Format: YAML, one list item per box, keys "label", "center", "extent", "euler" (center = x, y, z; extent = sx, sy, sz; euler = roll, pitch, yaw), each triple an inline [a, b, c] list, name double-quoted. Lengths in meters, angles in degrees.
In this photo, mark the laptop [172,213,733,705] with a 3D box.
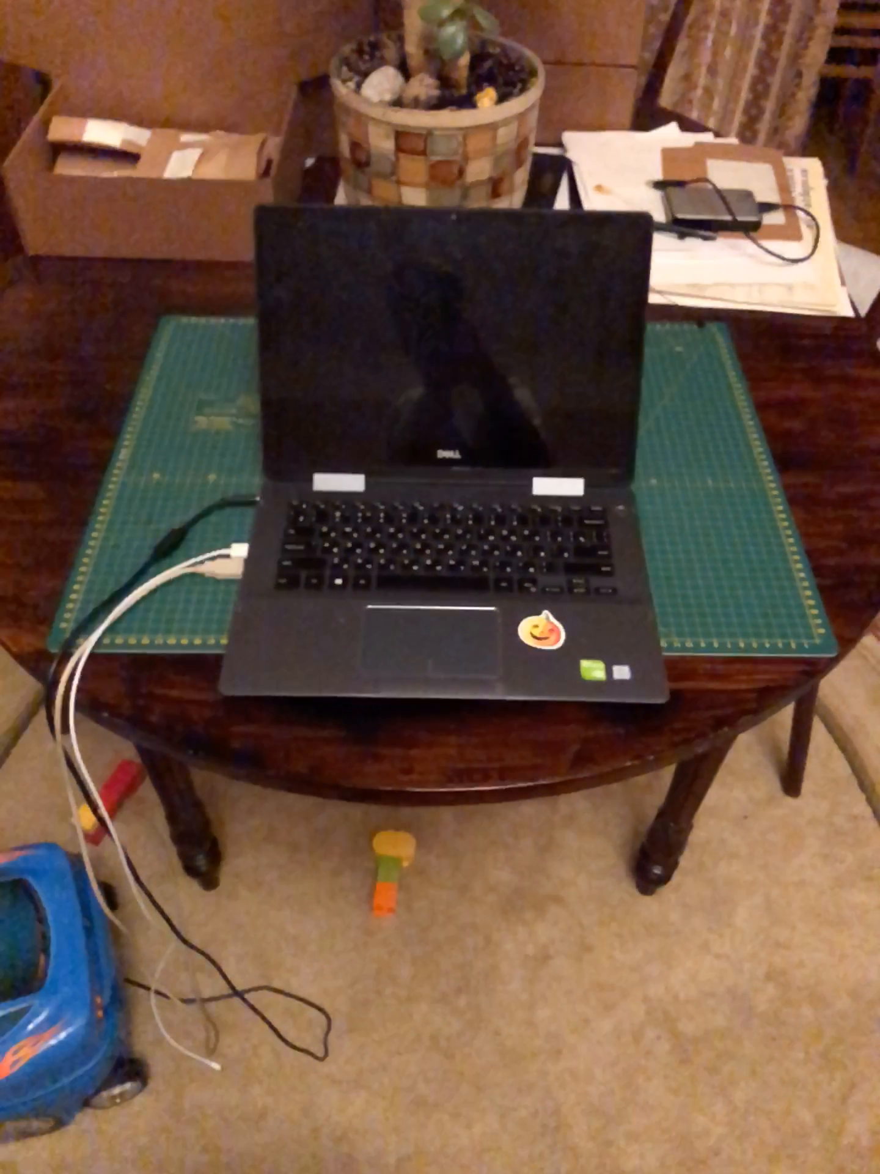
- label: "laptop"
  center: [0.009, -0.108, 0.742]
  extent: [0.320, 0.192, 0.339]
  euler: [1, 48, 0]
